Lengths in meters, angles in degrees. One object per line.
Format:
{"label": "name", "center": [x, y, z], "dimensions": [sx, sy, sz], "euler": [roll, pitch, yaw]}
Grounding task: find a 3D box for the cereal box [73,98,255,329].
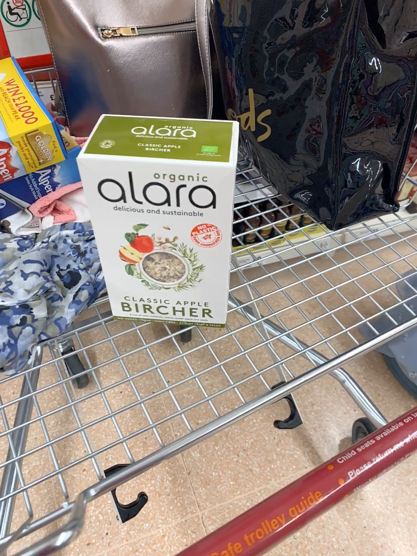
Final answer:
{"label": "cereal box", "center": [-0.030, -0.047, 0.374], "dimensions": [0.120, 0.178, 0.081], "euler": [5, 46, 2]}
